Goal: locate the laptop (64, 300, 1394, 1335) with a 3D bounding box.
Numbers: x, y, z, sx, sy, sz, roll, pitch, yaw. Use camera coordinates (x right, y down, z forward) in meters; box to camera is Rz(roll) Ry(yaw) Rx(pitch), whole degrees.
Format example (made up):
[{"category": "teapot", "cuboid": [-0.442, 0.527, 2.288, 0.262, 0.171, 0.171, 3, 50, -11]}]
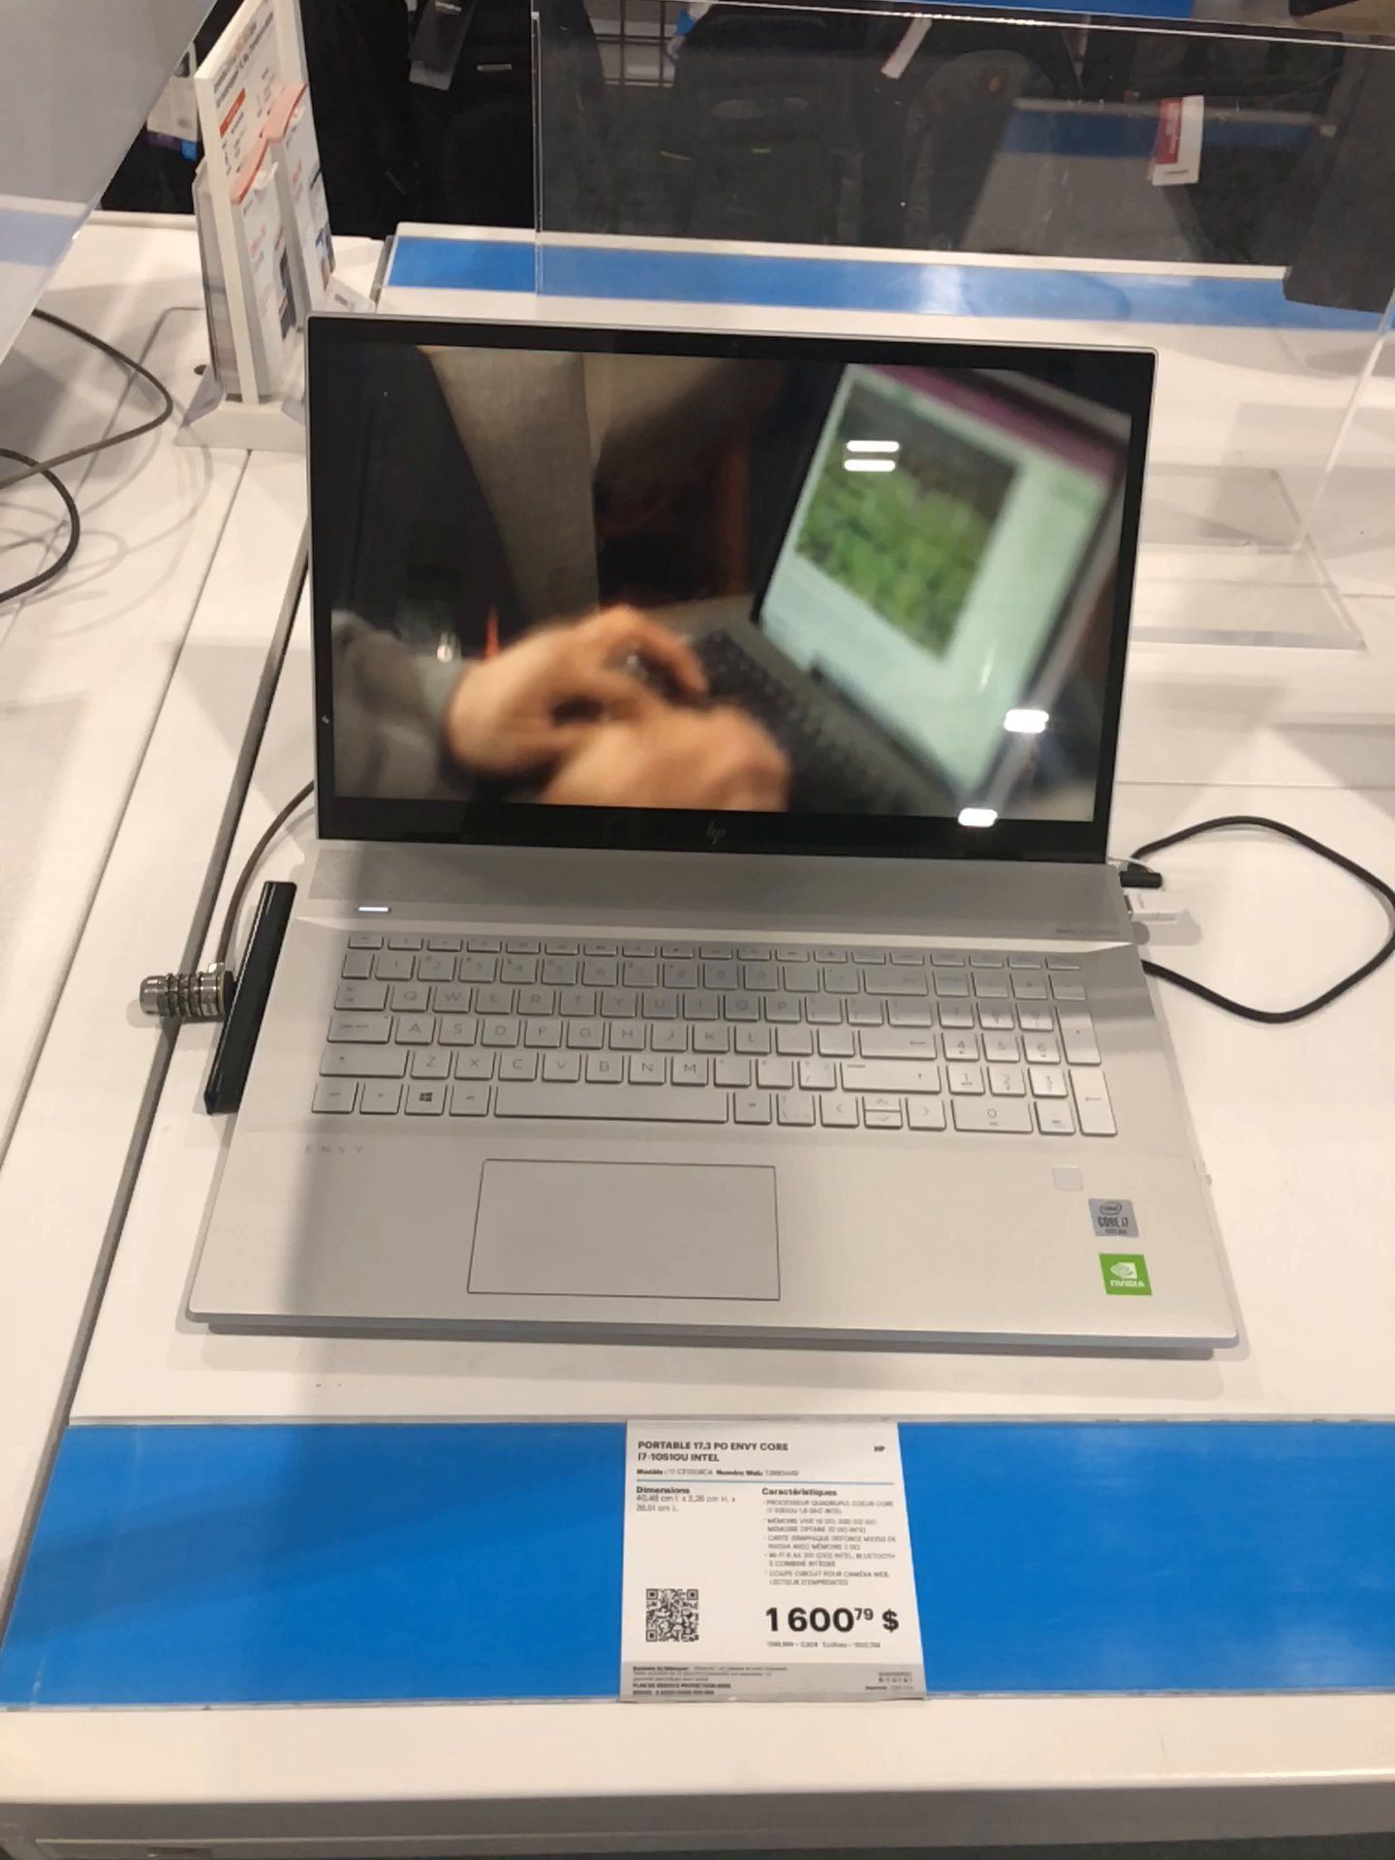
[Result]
[{"category": "laptop", "cuboid": [0.011, -0.067, 0.646, 0.390, 0.199, 0.399, 2, 46, -3]}]
